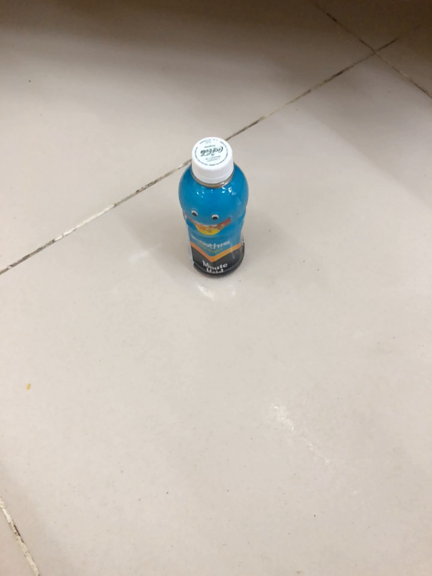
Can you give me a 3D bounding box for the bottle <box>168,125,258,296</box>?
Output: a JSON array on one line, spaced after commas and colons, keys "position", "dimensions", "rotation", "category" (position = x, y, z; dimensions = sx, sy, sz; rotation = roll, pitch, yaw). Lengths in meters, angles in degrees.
[{"position": [0.001, -0.058, 0.416], "dimensions": [0.060, 0.159, 0.060], "rotation": [-1, 62, 1], "category": "bottle"}]
